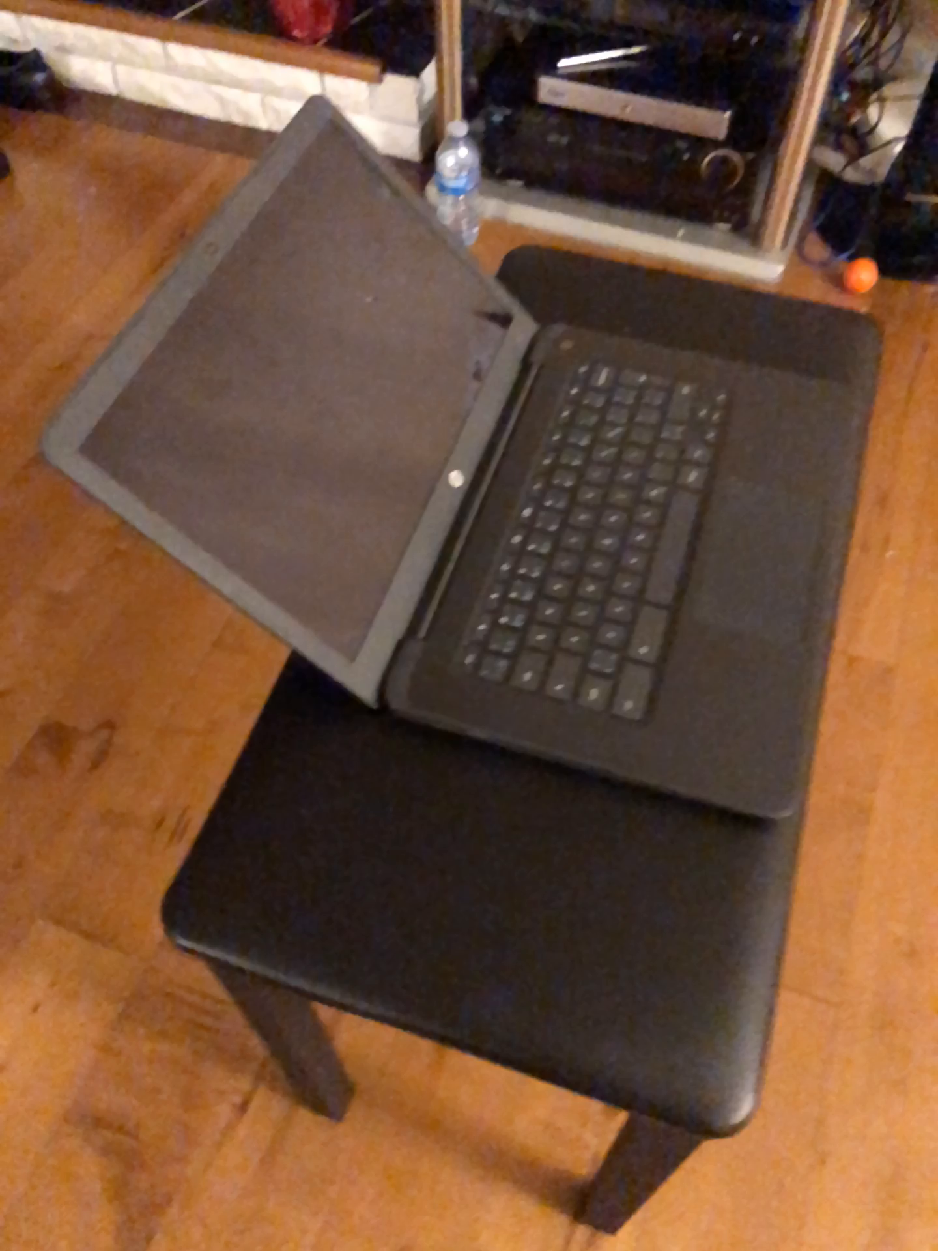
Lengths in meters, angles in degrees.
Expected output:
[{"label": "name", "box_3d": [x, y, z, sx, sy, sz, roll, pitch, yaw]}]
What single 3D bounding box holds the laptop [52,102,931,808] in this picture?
[{"label": "laptop", "box_3d": [0.032, -0.119, 0.571, 0.363, 0.143, 0.318, 14, 56, 12]}]
